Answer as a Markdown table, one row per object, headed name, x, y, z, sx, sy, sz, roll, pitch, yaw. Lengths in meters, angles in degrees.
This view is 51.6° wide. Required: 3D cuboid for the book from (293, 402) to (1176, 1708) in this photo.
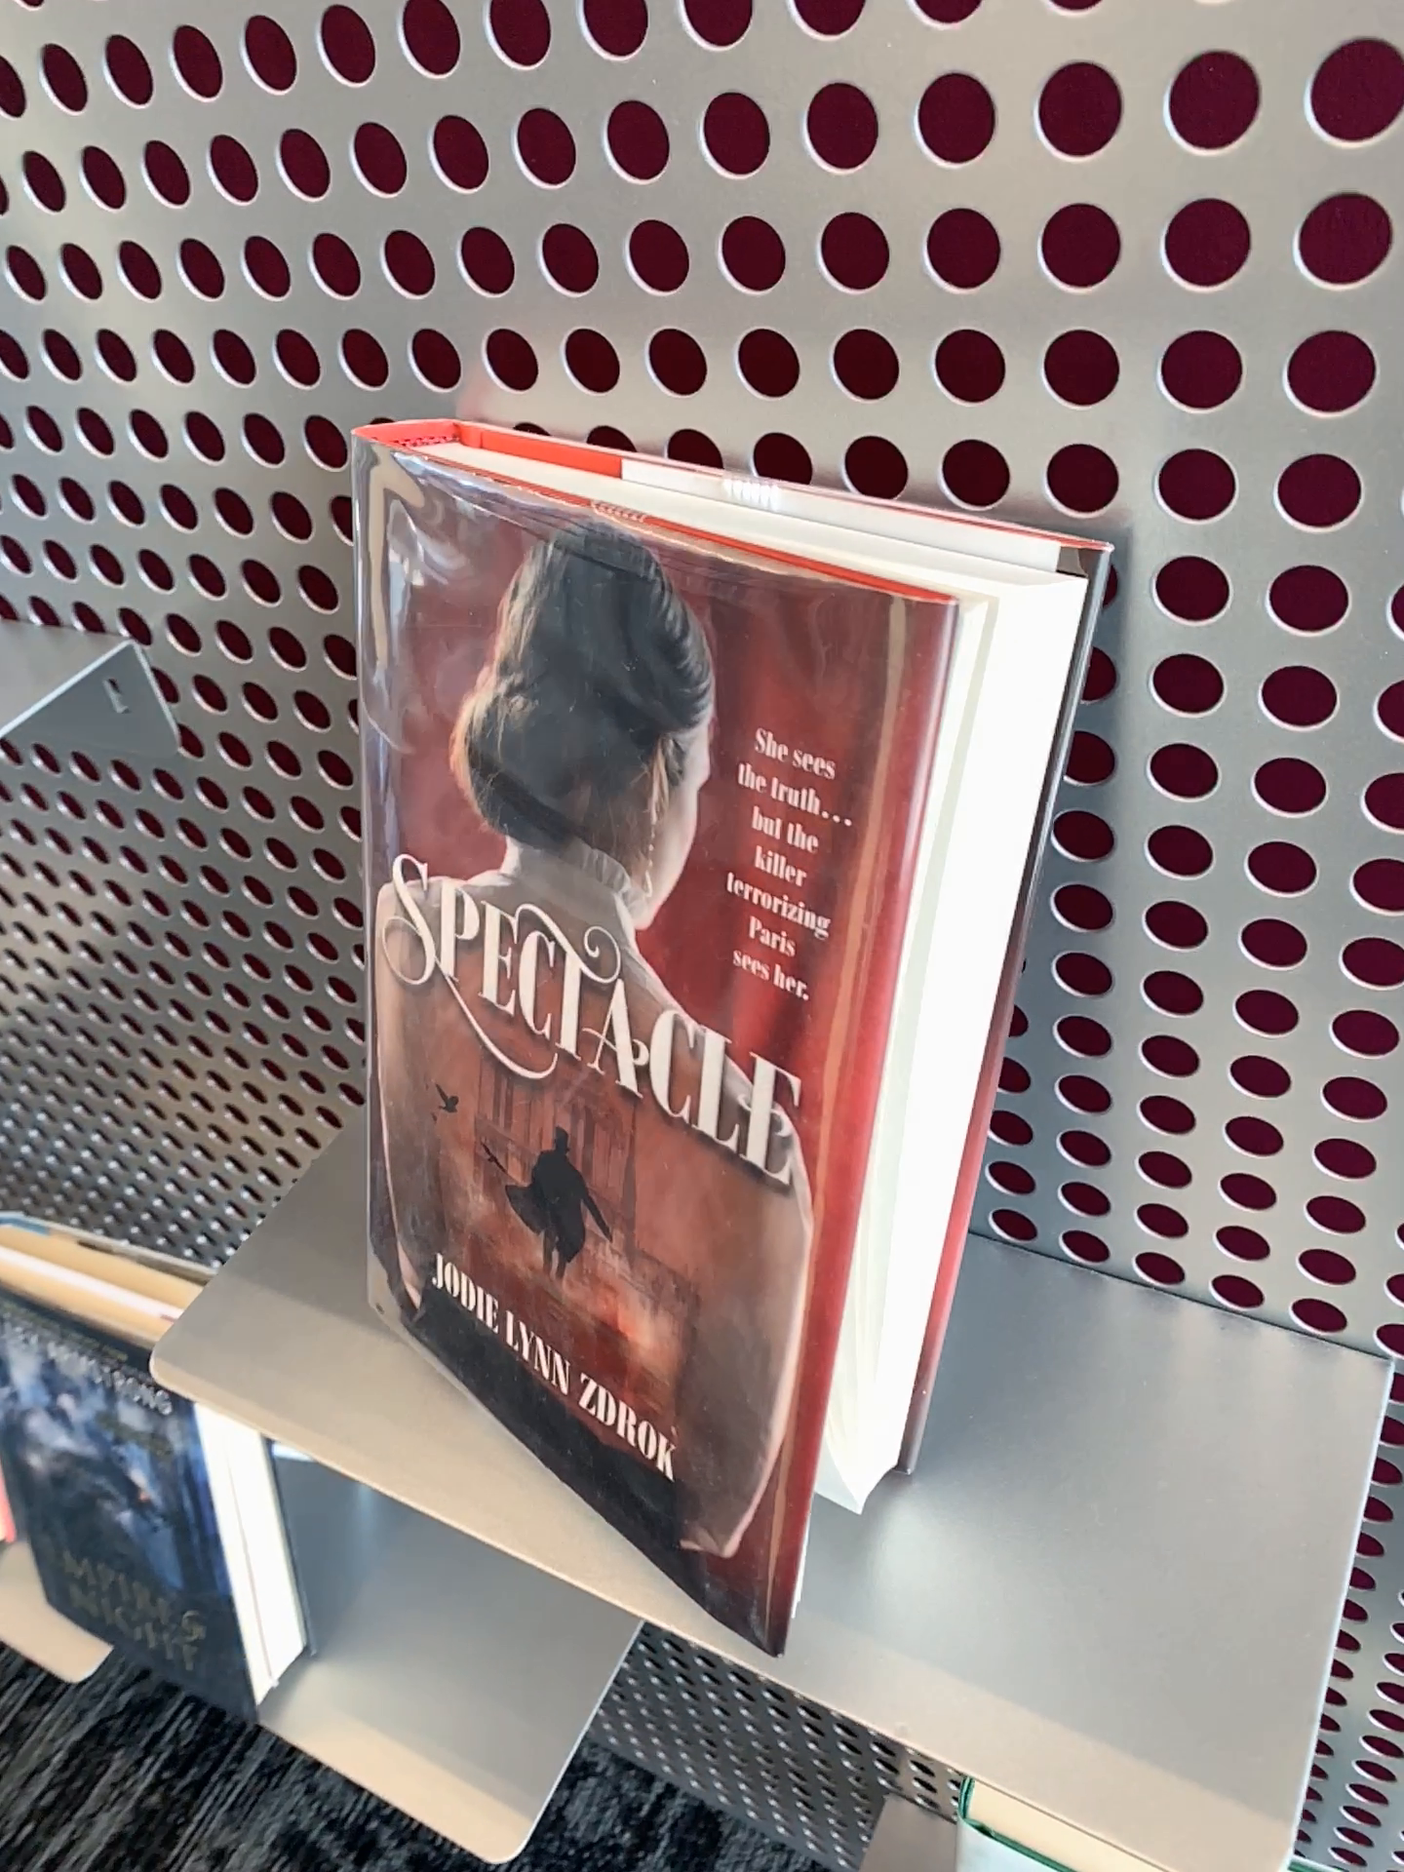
| name | x | y | z | sx | sy | sz | roll | pitch | yaw |
| --- | --- | --- | --- | --- | --- | --- | --- | --- | --- |
| book | -0.010 | 0.015 | 0.294 | 0.059 | 0.211 | 0.154 | -20 | 35 | -40 |
